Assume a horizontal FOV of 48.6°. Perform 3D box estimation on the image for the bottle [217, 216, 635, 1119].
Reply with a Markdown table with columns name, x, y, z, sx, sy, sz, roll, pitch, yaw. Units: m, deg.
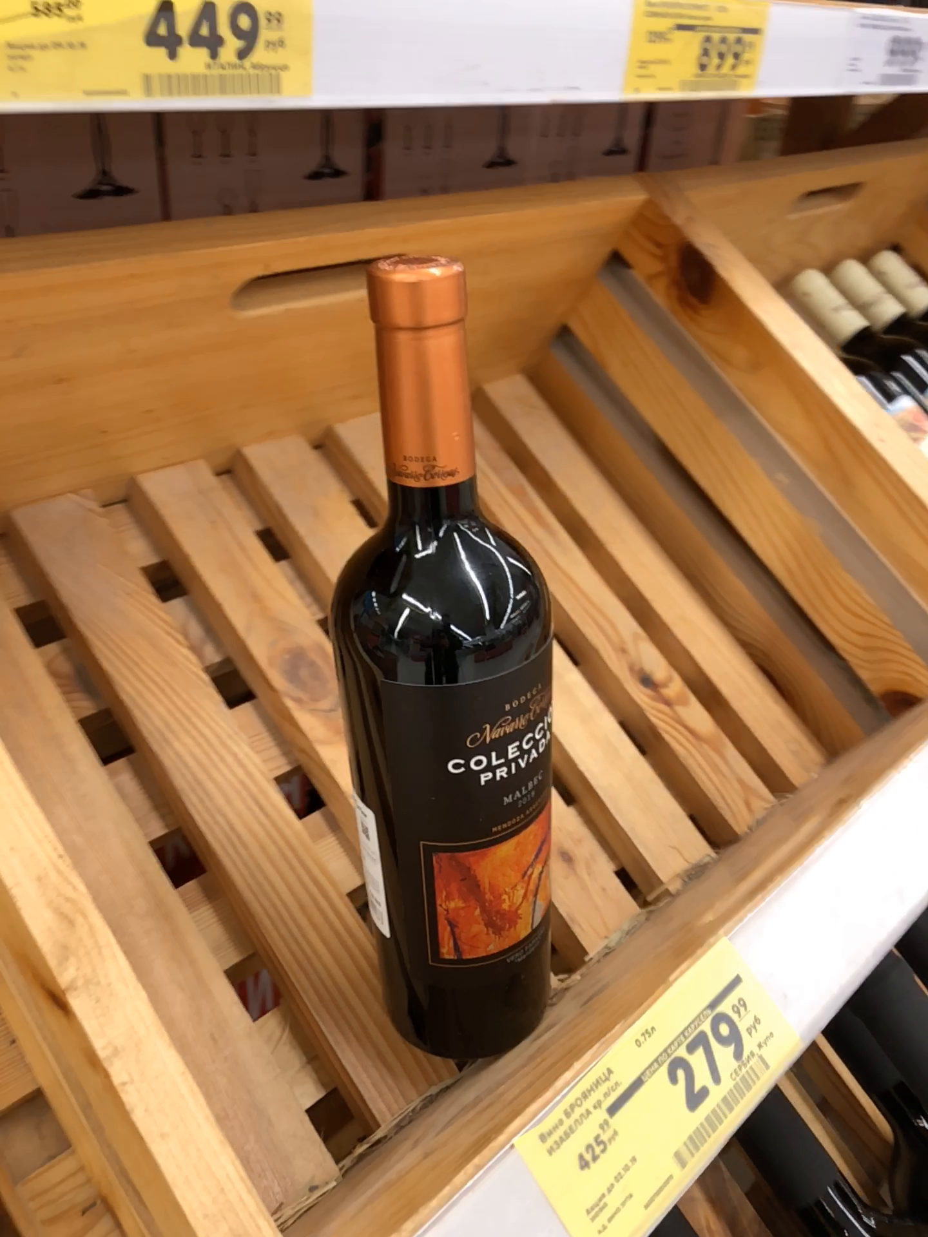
| name | x | y | z | sx | sy | sz | roll | pitch | yaw |
| --- | --- | --- | --- | --- | --- | --- | --- | --- | --- |
| bottle | -0.002 | 0.022 | 0.353 | 0.087 | 0.289 | 0.080 | -3 | 27 | 2 |
